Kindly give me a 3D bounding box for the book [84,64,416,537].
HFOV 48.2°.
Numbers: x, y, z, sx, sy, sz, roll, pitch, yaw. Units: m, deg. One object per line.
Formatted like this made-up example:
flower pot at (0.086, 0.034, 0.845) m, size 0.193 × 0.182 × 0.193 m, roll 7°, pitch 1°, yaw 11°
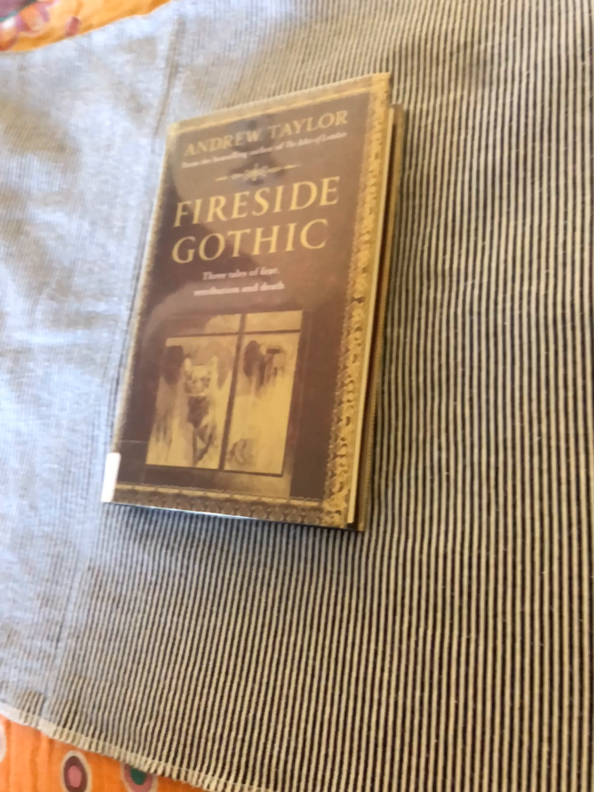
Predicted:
book at (-0.022, -0.048, 0.329) m, size 0.139 × 0.027 × 0.216 m, roll 1°, pitch 75°, yaw 27°
